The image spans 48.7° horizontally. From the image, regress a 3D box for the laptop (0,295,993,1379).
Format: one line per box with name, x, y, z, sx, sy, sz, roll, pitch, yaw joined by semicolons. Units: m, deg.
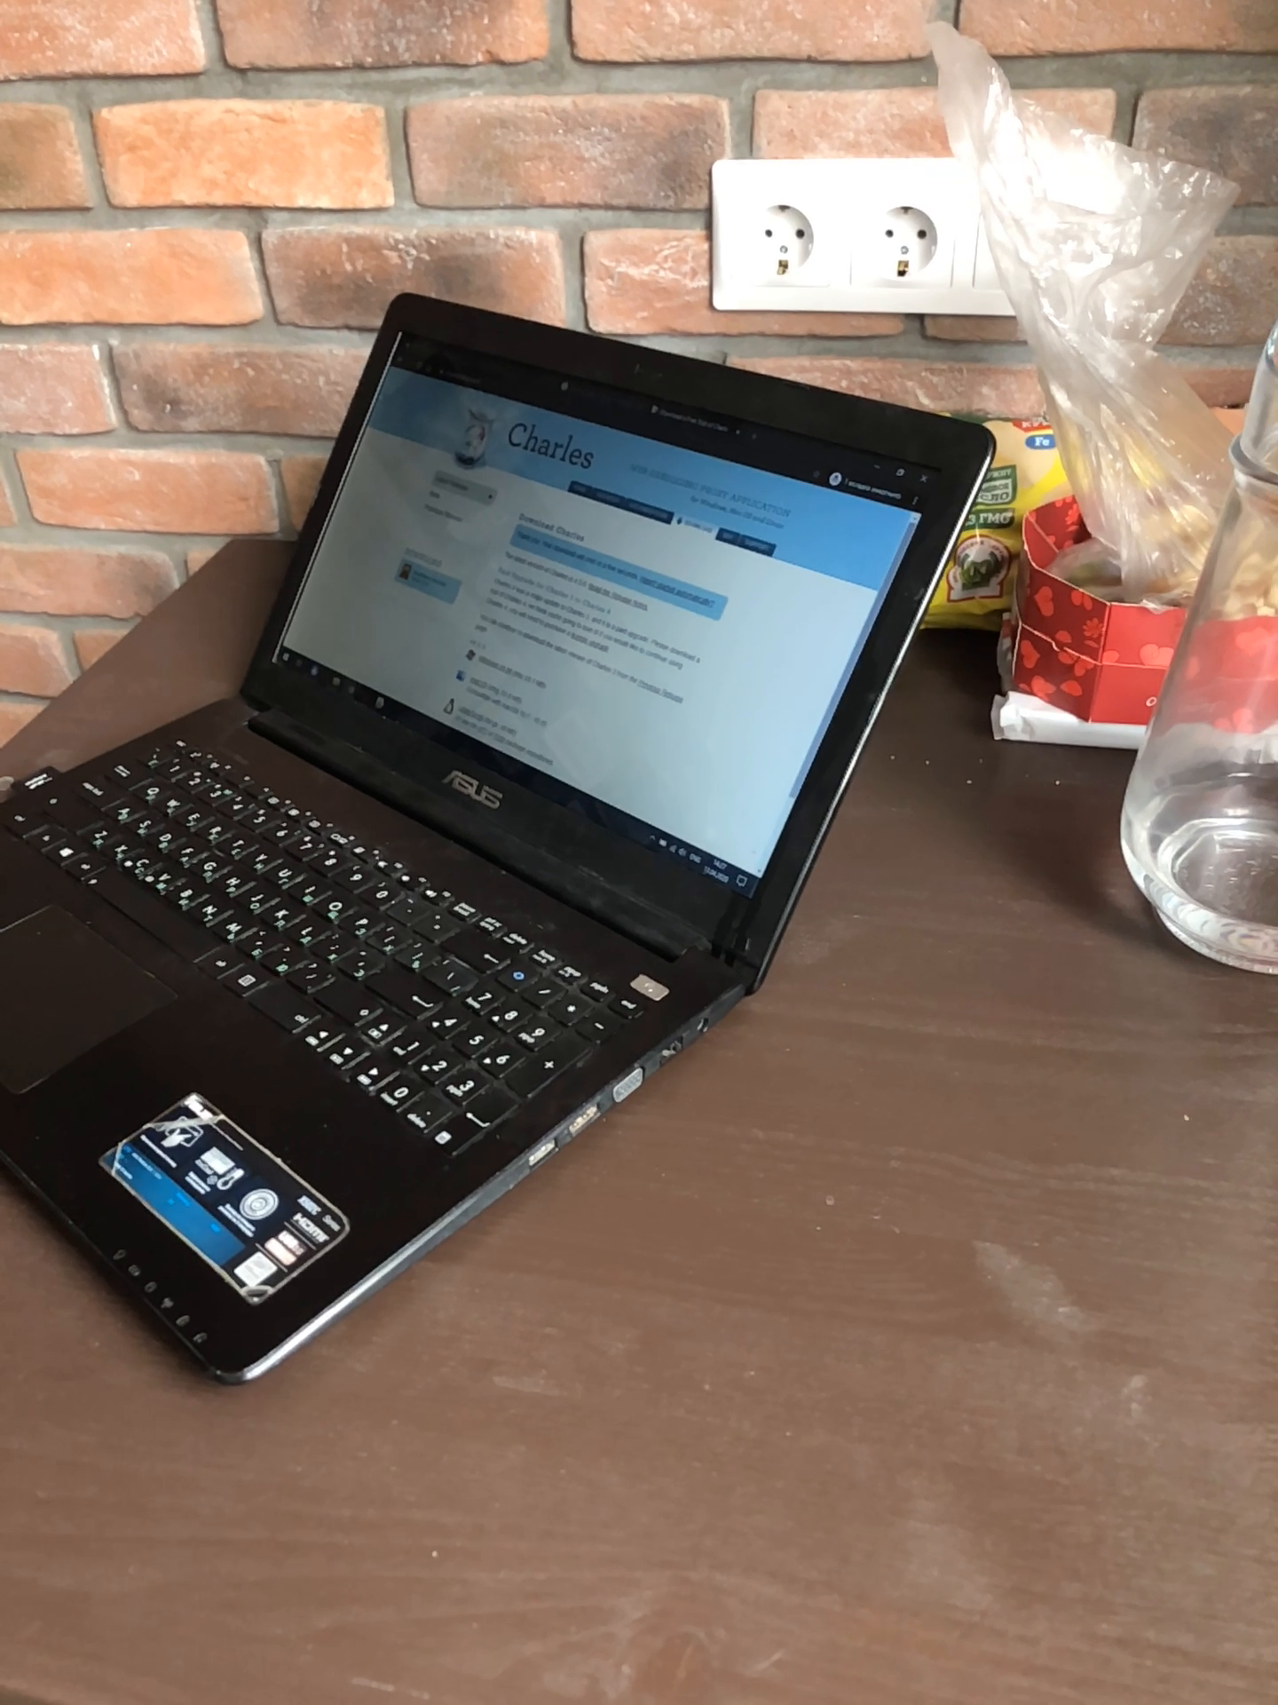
laptop;-0.130;-0.072;0.604;0.373;0.186;0.400;27;45;36
